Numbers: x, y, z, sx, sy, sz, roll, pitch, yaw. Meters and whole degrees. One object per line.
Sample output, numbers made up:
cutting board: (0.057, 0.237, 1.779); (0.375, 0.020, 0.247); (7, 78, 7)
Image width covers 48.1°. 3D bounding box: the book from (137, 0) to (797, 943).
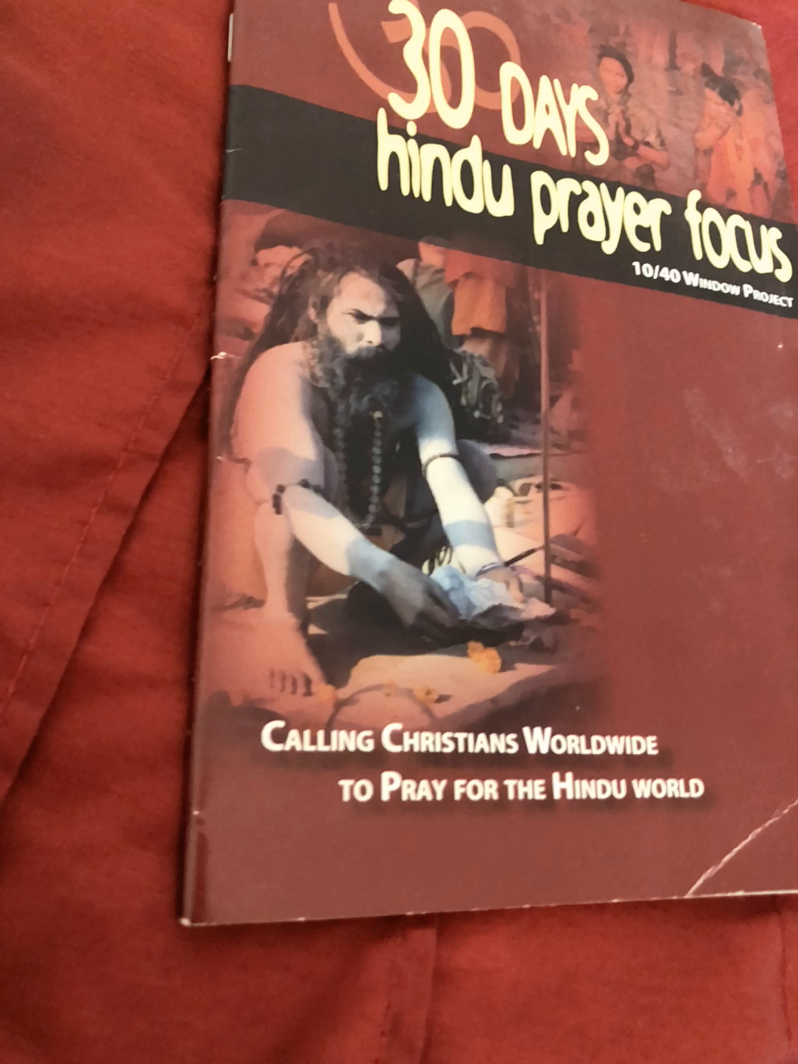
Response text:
book: (0.029, -0.037, 0.181); (0.142, 0.010, 0.210); (6, 71, -21)
